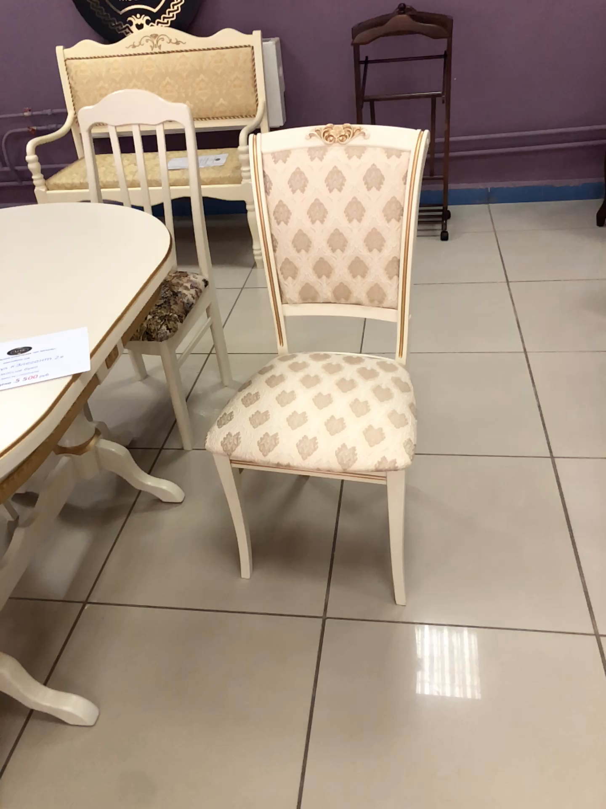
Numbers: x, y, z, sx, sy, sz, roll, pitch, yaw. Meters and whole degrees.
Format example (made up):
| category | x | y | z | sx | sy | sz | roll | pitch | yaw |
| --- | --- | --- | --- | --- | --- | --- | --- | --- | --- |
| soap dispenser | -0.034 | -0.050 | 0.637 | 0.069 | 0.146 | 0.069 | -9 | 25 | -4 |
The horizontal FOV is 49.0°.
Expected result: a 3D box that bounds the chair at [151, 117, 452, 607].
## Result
| category | x | y | z | sx | sy | sz | roll | pitch | yaw |
| --- | --- | --- | --- | --- | --- | --- | --- | --- | --- |
| chair | 0.071 | -0.083 | 1.504 | 0.448 | 0.944 | 0.483 | 5 | 36 | 16 |
